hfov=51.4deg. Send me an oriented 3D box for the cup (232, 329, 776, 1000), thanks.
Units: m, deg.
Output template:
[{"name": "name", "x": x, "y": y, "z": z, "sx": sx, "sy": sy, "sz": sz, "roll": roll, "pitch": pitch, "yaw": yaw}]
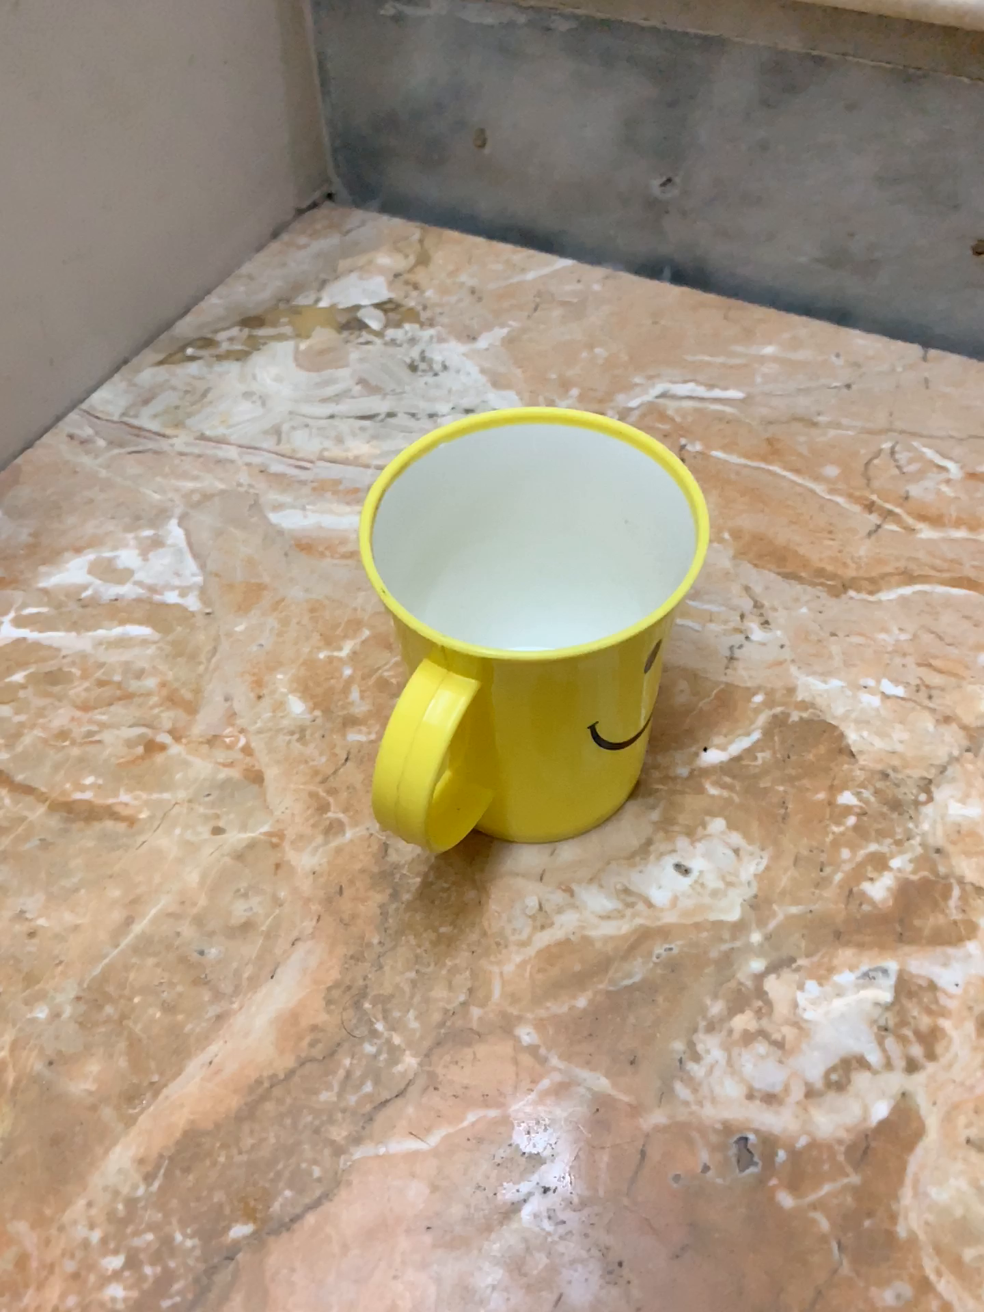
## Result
[{"name": "cup", "x": 0.009, "y": 0.000, "z": 0.239, "sx": 0.070, "sy": 0.089, "sz": 0.111, "roll": 19, "pitch": 54, "yaw": 16}]
